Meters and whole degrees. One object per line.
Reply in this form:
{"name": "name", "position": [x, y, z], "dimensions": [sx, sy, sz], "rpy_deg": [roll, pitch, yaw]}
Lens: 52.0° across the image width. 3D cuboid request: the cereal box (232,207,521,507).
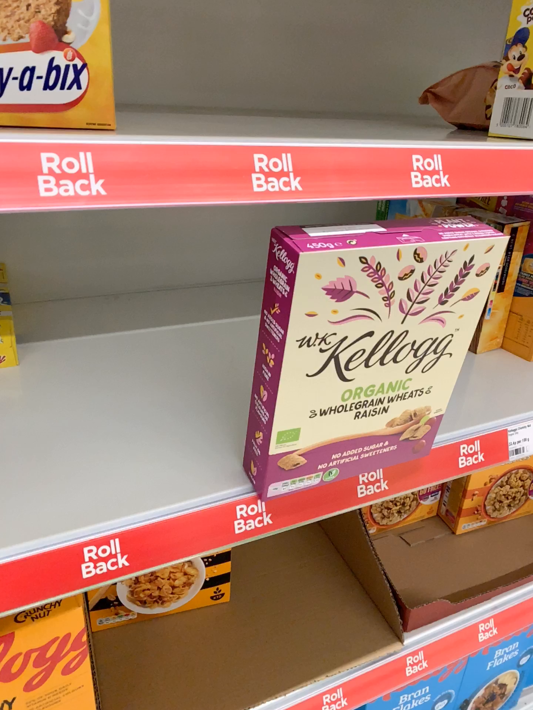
{"name": "cereal box", "position": [0.081, 0.000, 0.453], "dimensions": [0.200, 0.218, 0.060], "rpy_deg": [-10, 34, -24]}
